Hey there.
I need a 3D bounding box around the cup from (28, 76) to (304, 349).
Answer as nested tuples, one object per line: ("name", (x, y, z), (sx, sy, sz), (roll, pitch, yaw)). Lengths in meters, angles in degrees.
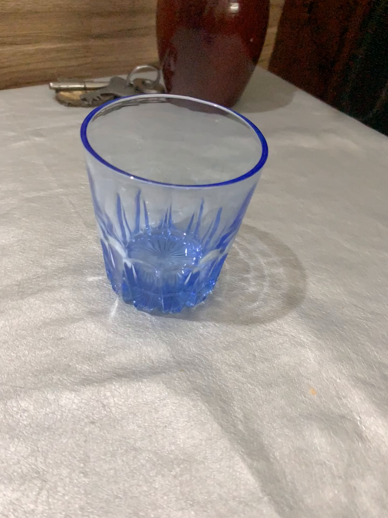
("cup", (-0.009, -0.024, 0.187), (0.090, 0.070, 0.090), (6, 45, -6))
